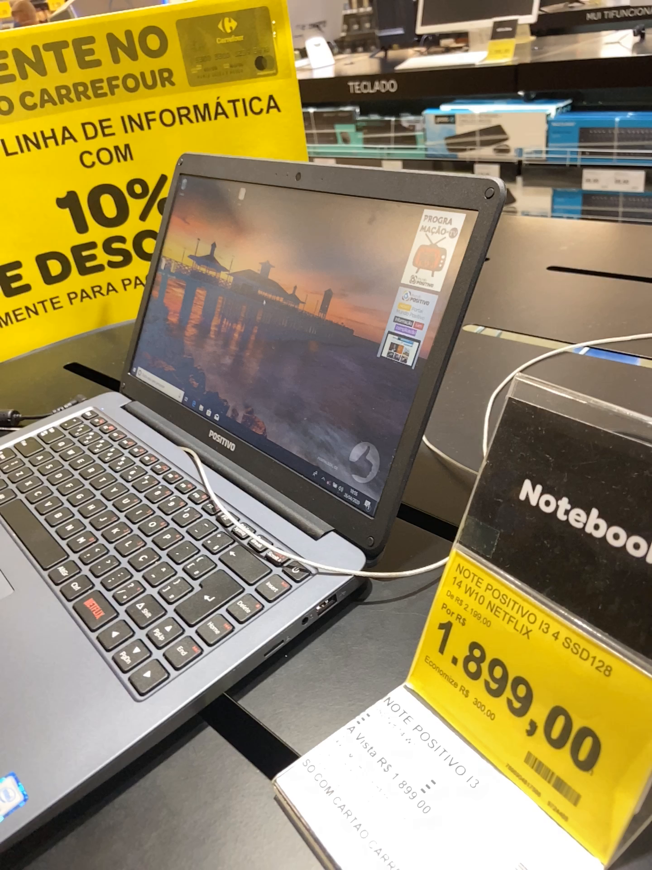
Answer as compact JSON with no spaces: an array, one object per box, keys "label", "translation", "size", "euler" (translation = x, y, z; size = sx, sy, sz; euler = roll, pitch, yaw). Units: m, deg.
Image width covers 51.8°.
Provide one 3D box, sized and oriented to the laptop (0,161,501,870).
[{"label":"laptop","translation":[-0.136,-0.032,0.415],"size":[0.342,0.172,0.333],"euler":[-30,37,-30]}]
